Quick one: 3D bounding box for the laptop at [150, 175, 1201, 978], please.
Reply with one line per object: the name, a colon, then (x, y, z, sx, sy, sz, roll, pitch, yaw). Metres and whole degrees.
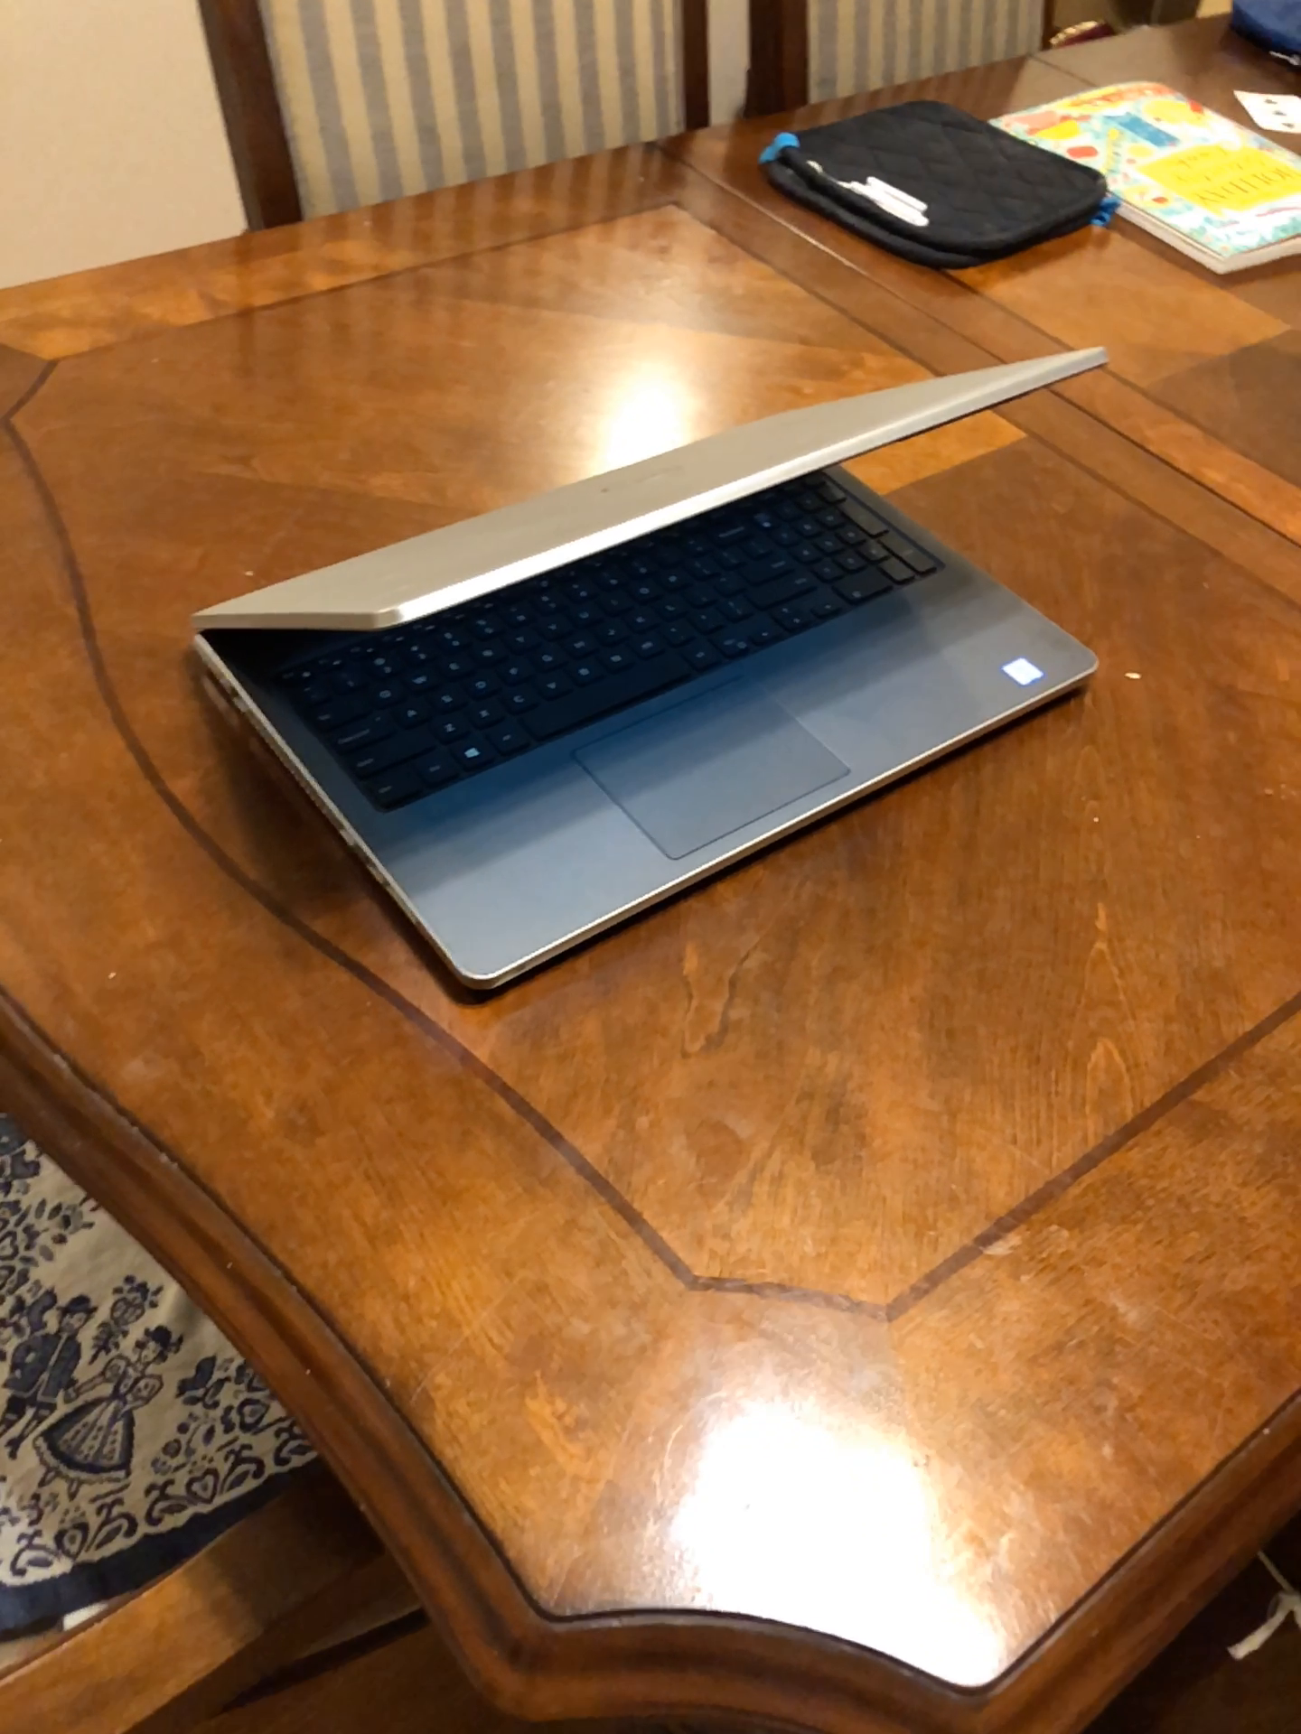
laptop: (0.011, -0.156, 0.648, 0.364, 0.147, 0.245, -27, 56, -25)
